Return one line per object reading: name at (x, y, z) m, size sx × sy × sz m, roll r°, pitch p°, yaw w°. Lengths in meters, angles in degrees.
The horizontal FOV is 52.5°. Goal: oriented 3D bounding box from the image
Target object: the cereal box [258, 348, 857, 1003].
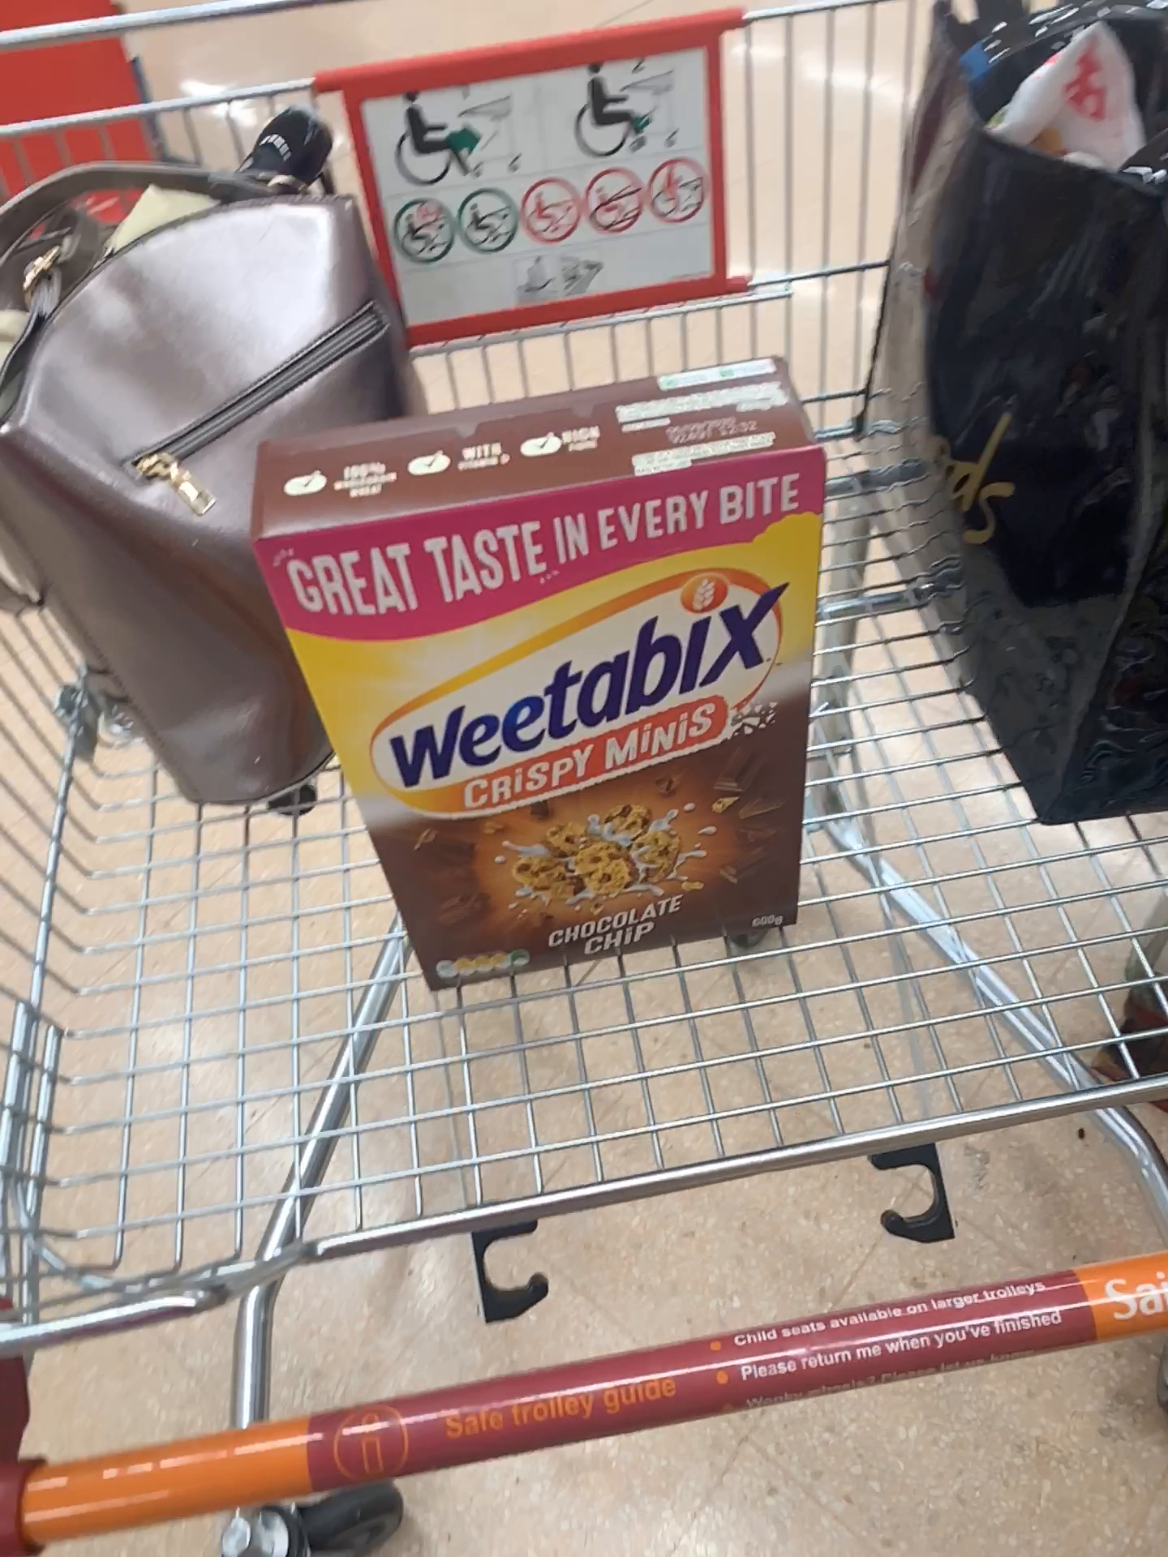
cereal box at (-0.001, -0.021, 0.494) m, size 0.190 × 0.277 × 0.061 m, roll -10°, pitch 48°, yaw -3°
